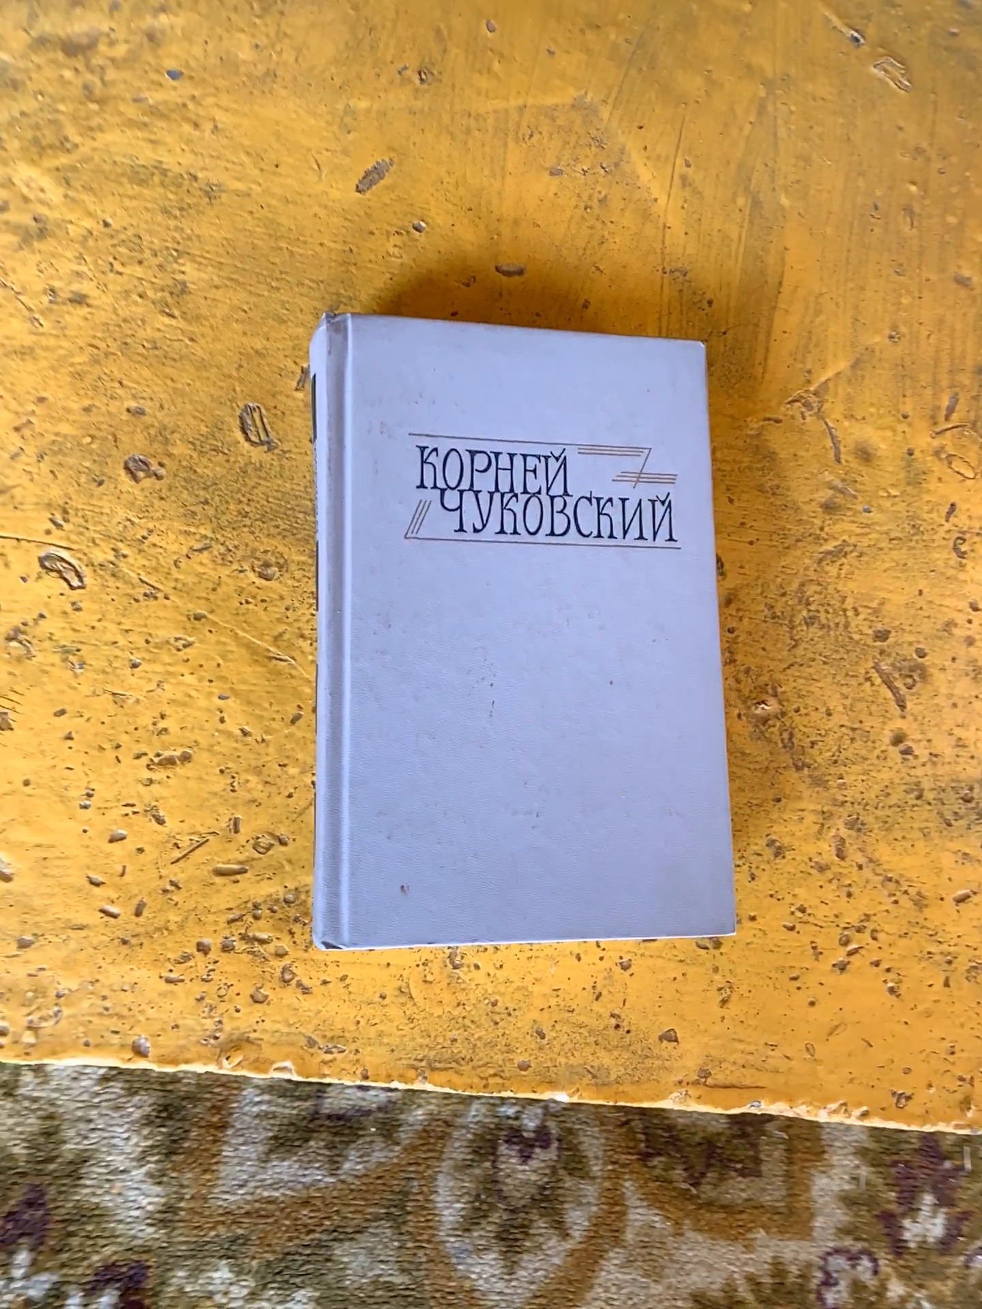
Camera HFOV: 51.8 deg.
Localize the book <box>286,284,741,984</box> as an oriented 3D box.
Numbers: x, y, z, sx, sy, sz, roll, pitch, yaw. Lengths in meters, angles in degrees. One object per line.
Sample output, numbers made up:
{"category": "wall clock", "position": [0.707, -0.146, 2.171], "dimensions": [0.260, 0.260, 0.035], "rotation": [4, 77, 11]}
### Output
{"category": "book", "position": [0.004, -0.010, 0.334], "dimensions": [0.139, 0.031, 0.216], "rotation": [0, 81, -10]}
